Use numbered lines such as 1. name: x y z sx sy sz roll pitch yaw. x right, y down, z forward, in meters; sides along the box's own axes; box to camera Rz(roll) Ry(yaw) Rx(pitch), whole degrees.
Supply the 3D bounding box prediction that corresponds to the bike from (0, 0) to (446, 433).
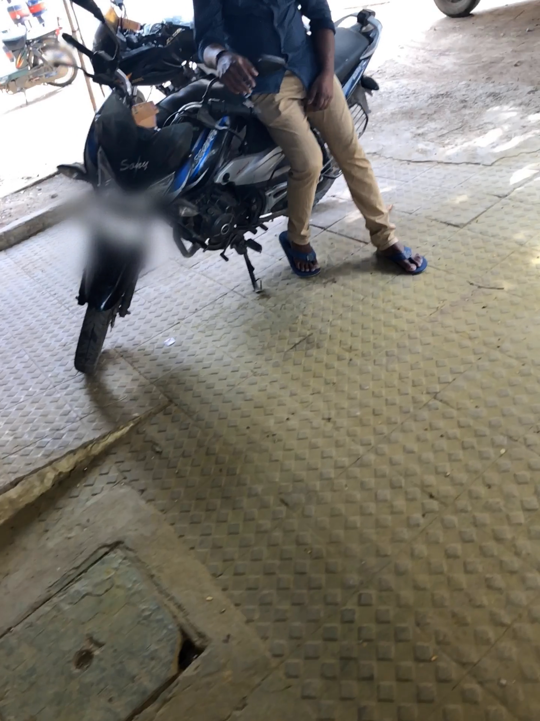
1. bike: -0.113 -0.824 2.362 0.784 1.176 1.750 18 52 38
